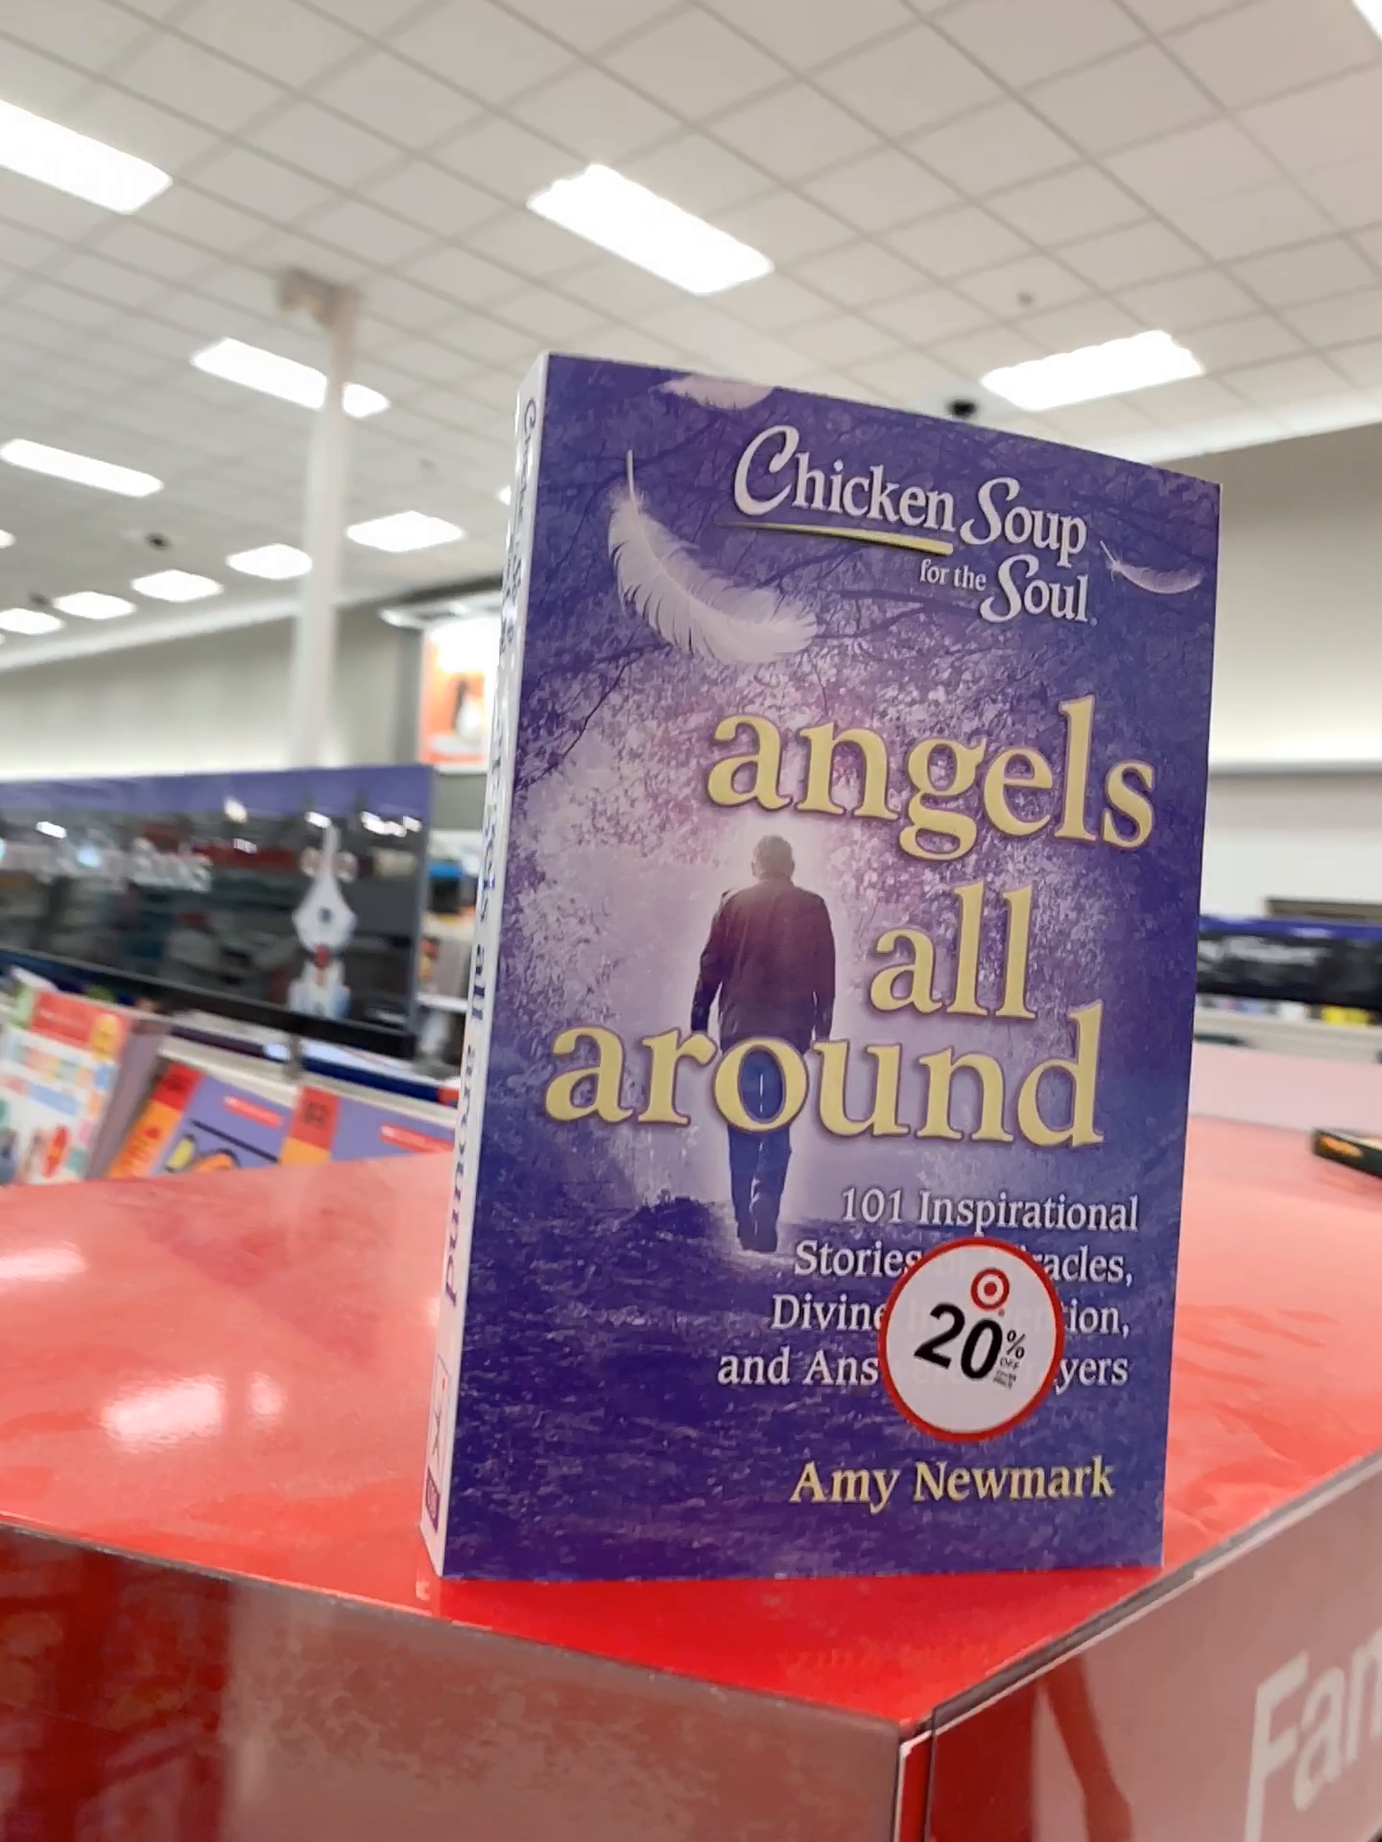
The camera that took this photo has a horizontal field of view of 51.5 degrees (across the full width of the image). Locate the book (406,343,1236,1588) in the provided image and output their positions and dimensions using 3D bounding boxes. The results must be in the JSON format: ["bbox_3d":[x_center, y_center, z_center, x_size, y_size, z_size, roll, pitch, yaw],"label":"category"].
[{"bbox_3d":[0.026,0.011,0.278,0.142,0.211,0.041,5,-3,-13],"label":"book"}]
